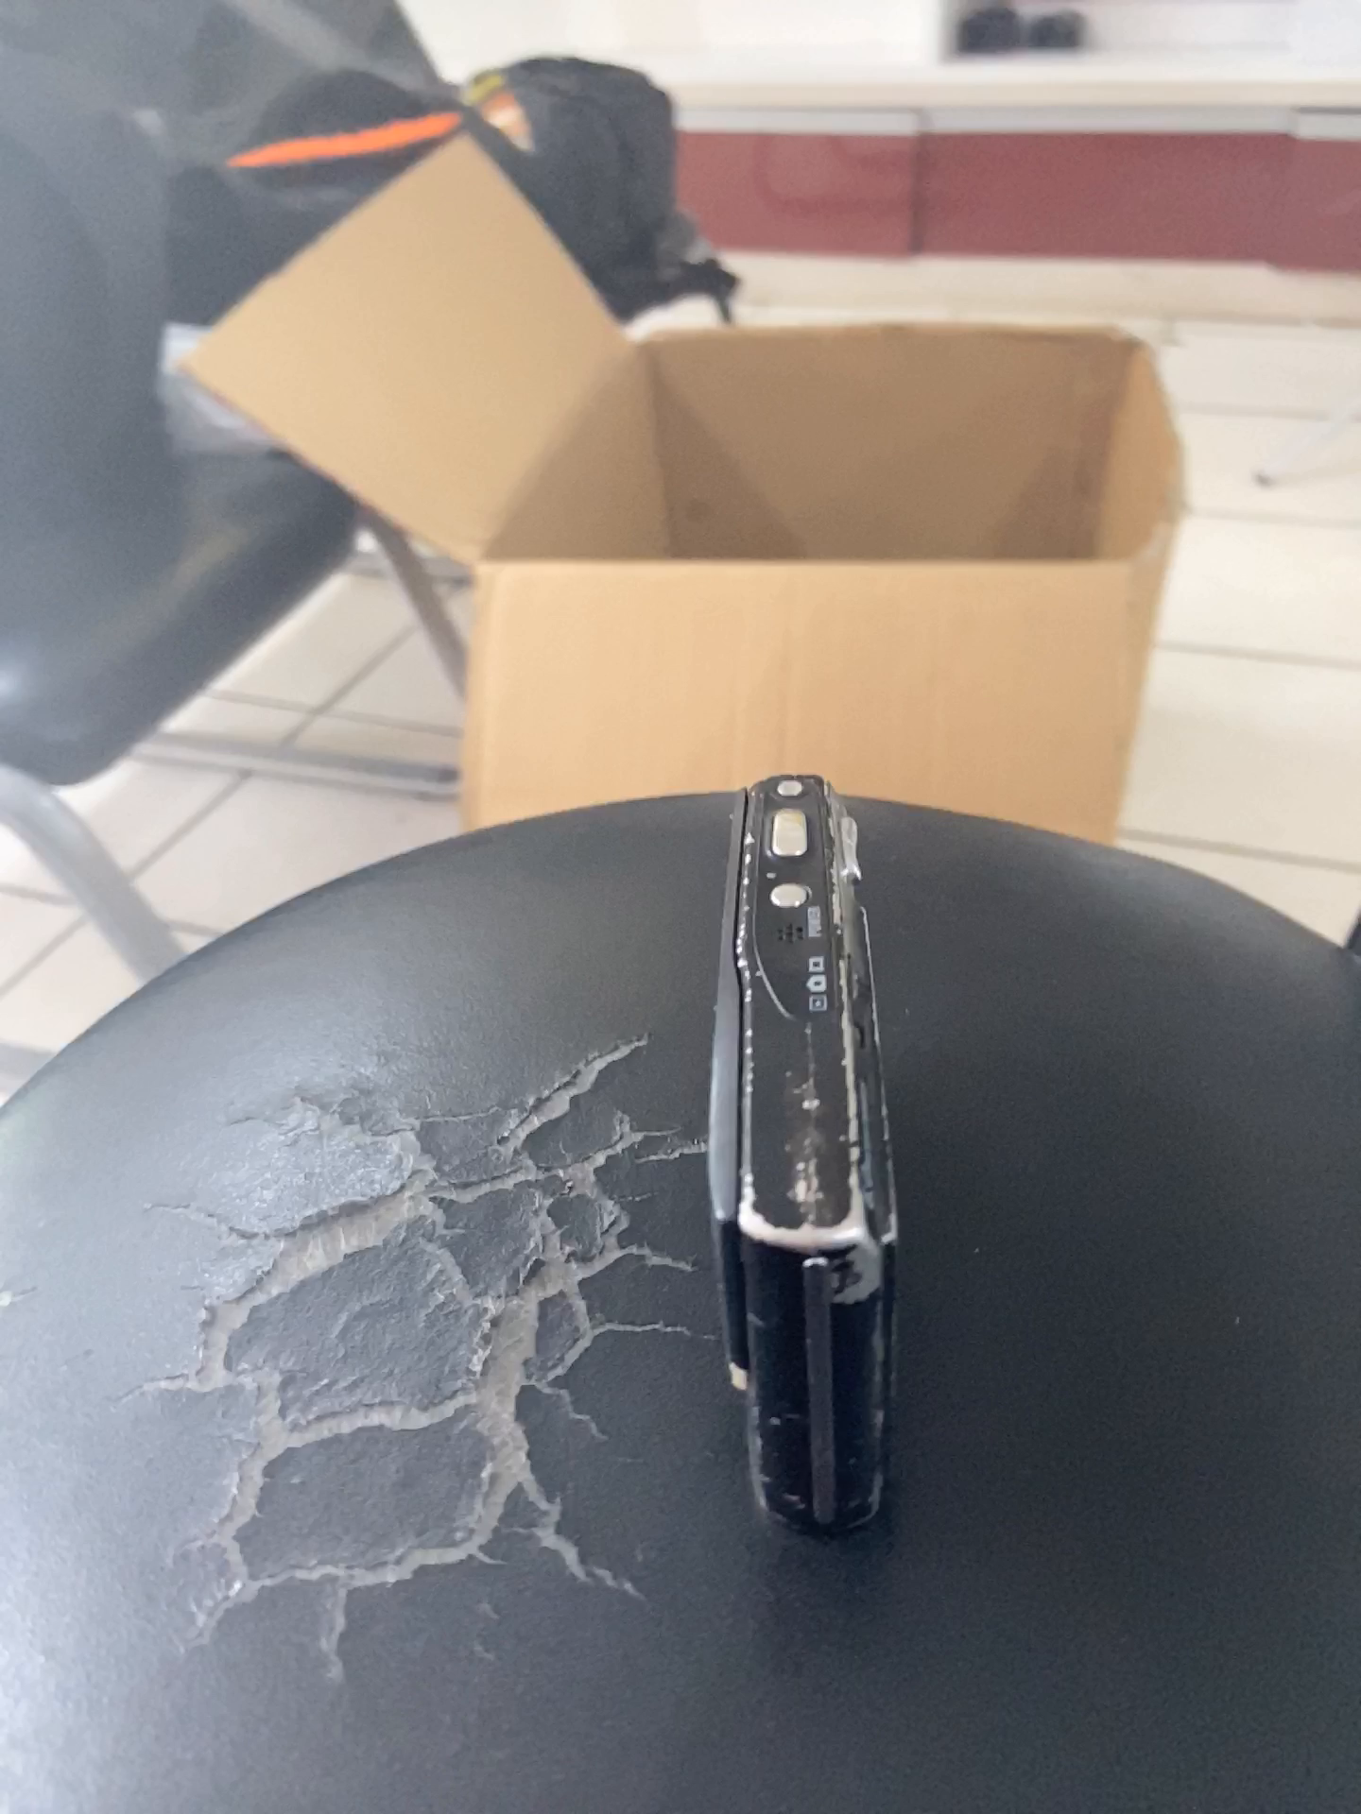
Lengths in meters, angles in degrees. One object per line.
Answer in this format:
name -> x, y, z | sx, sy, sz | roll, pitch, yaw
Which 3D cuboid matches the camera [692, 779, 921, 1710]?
camera -> 0.016, 0.036, 0.182 | 0.020, 0.060, 0.101 | -2, 38, 5
